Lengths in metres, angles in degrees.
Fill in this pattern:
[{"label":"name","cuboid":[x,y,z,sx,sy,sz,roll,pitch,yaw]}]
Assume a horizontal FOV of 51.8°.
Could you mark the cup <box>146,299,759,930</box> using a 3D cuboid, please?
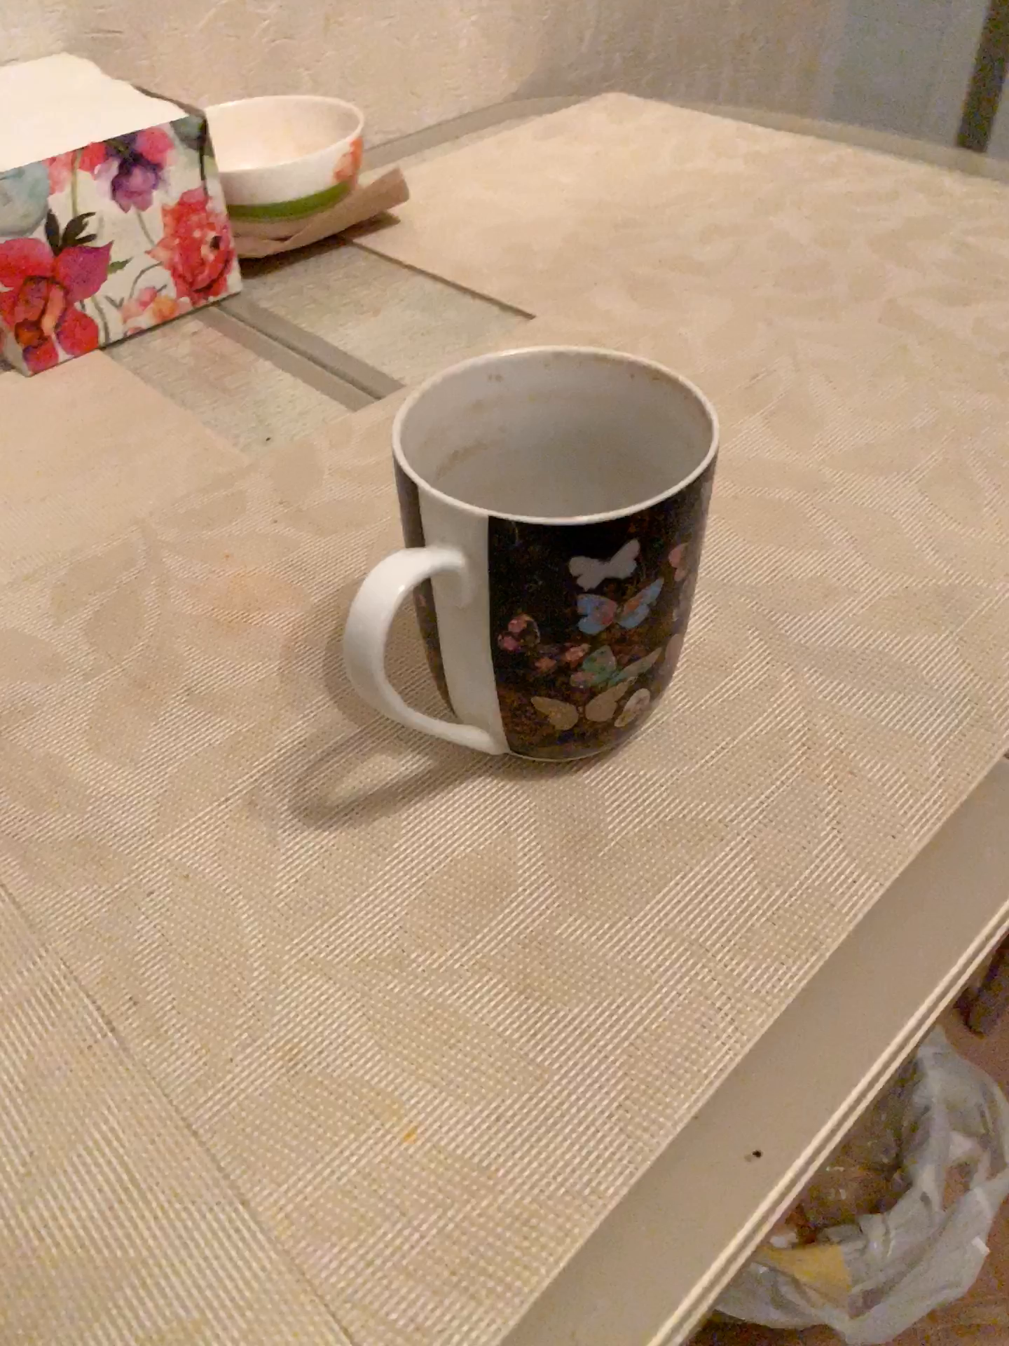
[{"label":"cup","cuboid":[-0.008,-0.021,0.282,0.082,0.097,0.126,33,55,31]}]
